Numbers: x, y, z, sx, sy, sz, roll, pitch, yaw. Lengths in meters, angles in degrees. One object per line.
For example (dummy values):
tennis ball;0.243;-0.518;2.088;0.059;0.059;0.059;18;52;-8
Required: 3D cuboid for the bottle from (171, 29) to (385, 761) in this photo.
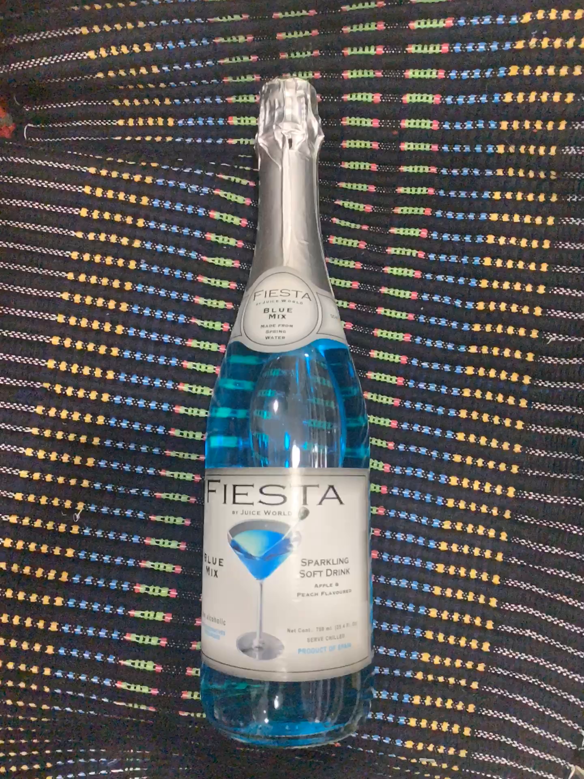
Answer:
bottle;0.001;-0.004;0.307;0.080;0.100;0.310;-2;80;12
